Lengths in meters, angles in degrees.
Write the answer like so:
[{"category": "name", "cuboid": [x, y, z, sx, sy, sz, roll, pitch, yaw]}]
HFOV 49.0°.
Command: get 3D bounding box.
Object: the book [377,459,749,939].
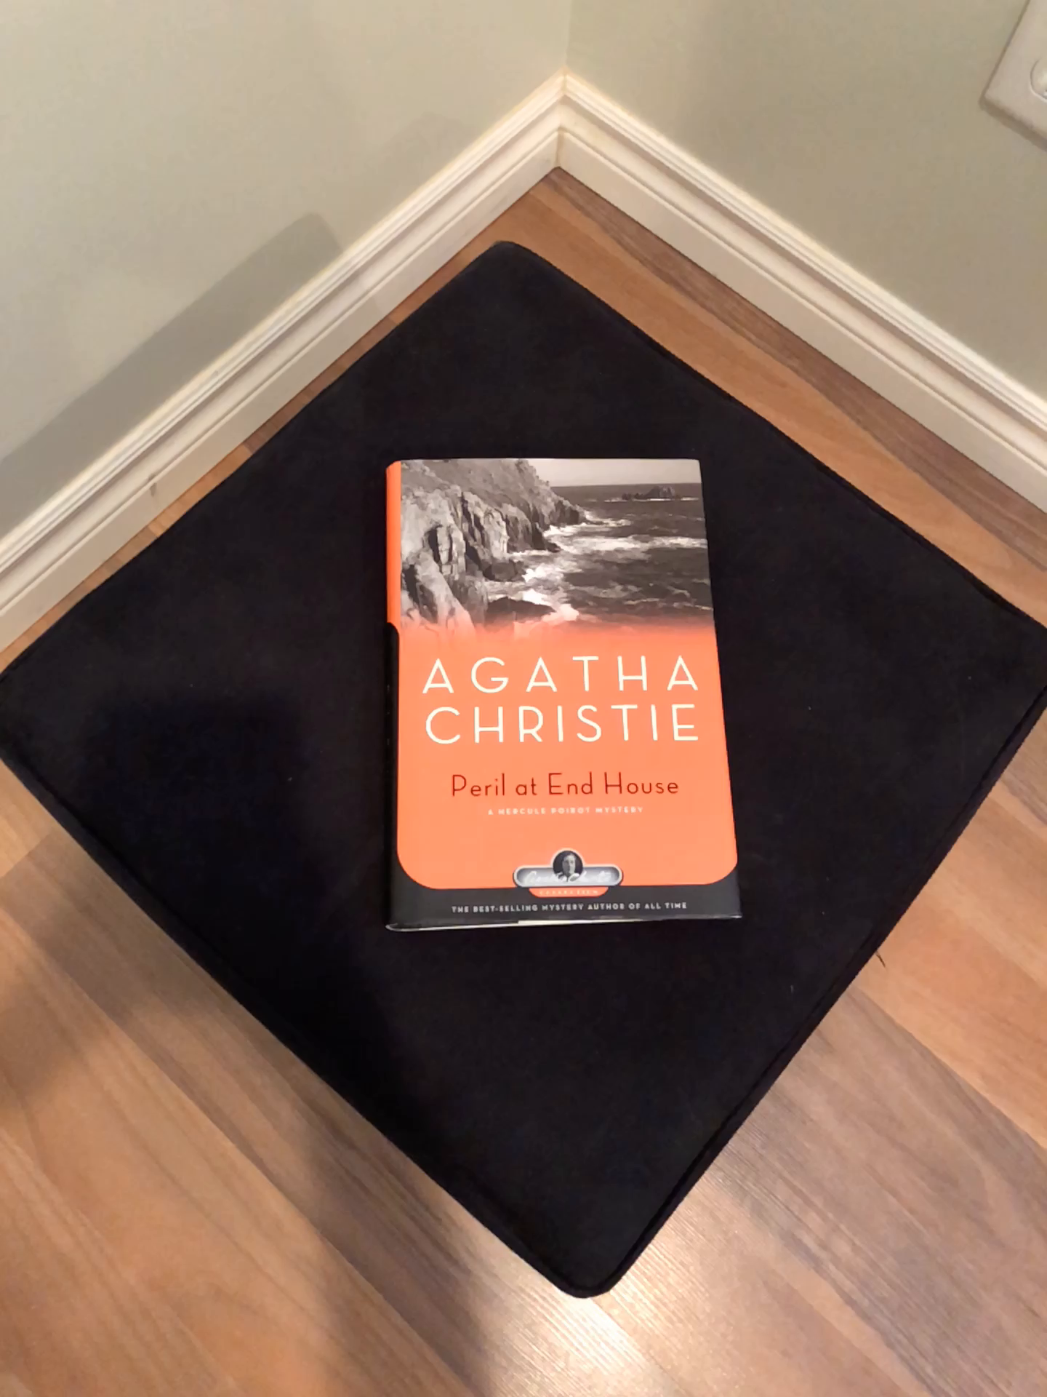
[{"category": "book", "cuboid": [0.011, -0.005, 0.501, 0.146, 0.030, 0.206, -2, 71, -3]}]
